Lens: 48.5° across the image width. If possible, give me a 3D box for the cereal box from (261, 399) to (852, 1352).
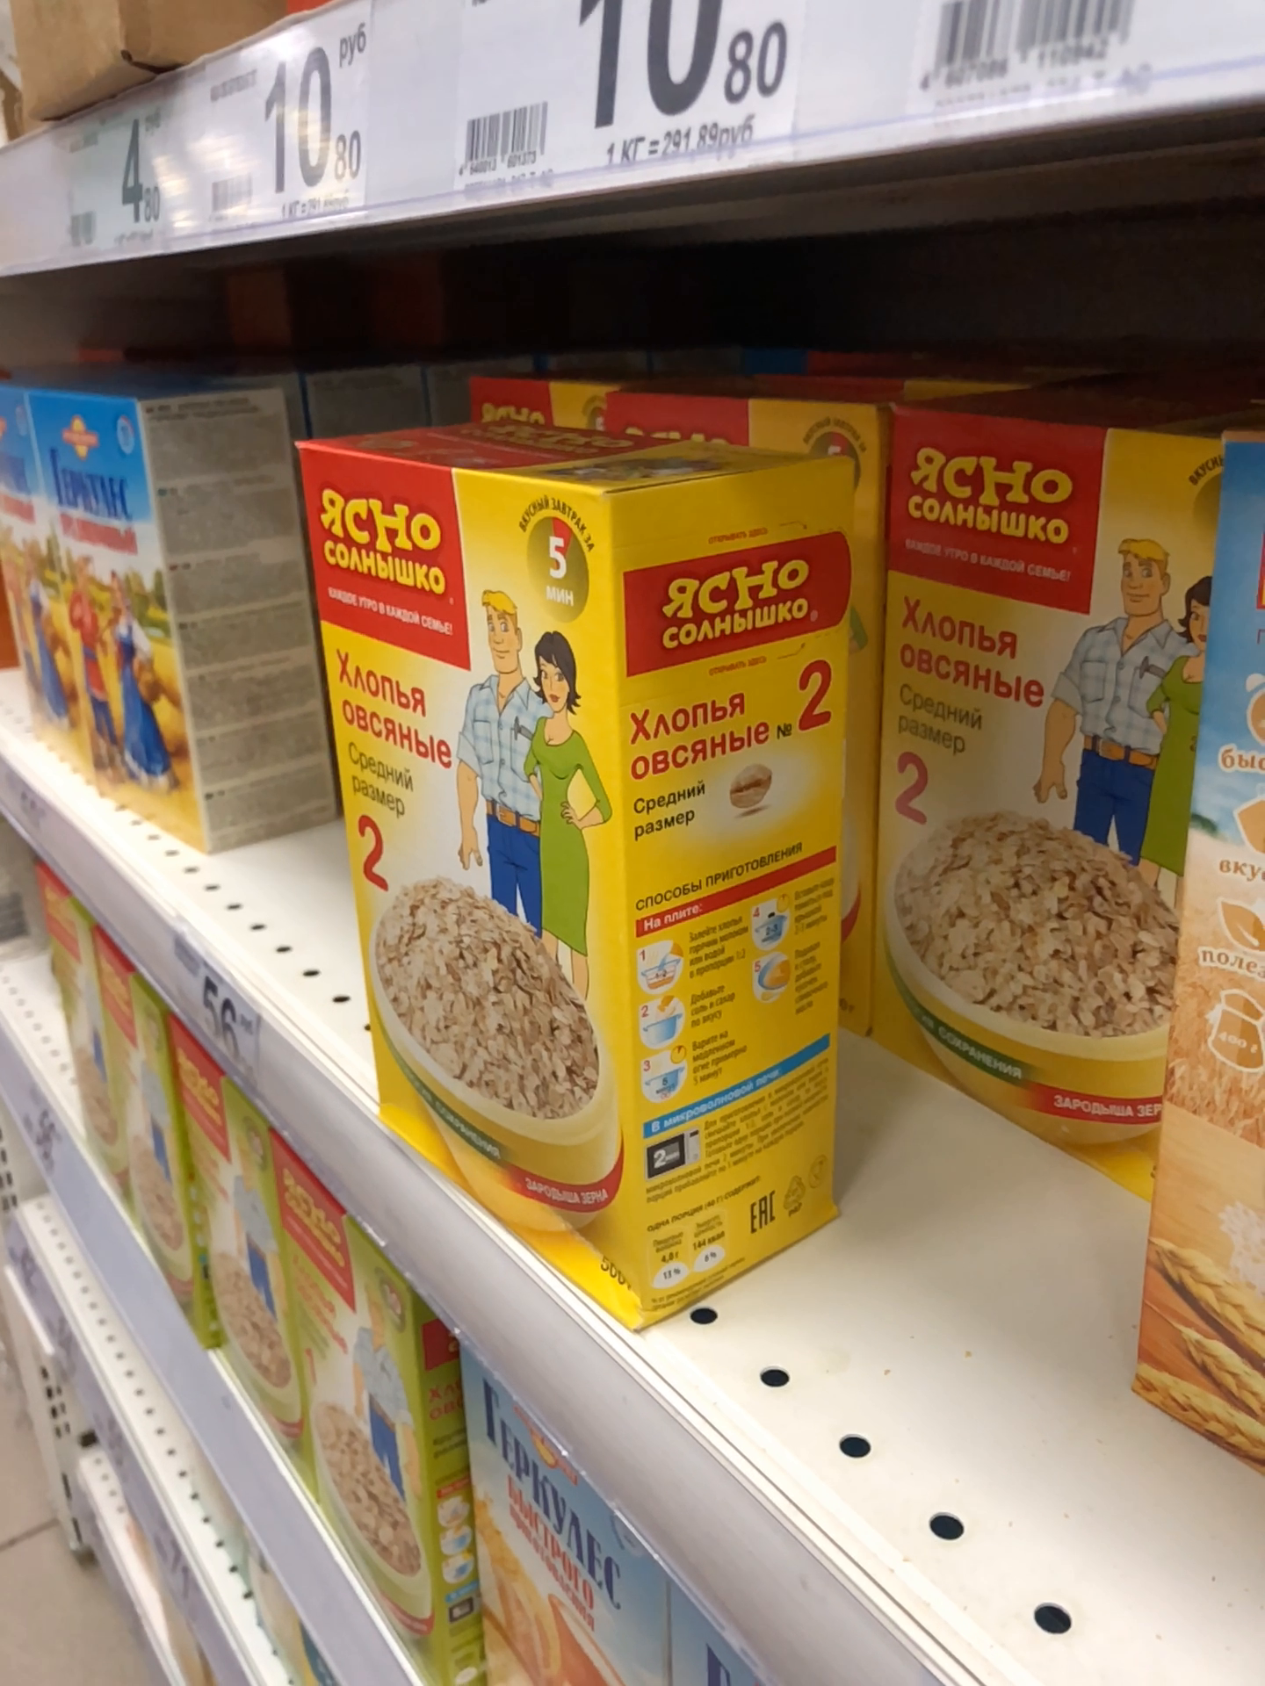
[{"bbox_3d":[-0.019,-0.004,0.341,0.070,0.189,0.130,-17,25,-32],"label":"cereal box"}]
